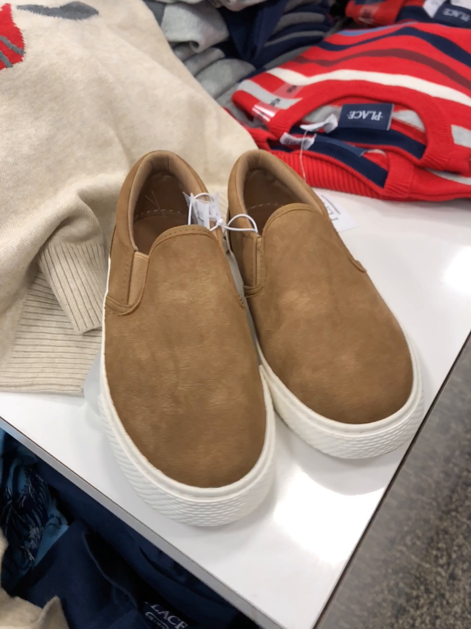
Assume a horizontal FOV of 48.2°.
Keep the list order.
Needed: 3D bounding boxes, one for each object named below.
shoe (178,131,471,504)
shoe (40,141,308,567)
[{"bbox_3d":[0.039,-0.021,0.322,0.092,0.080,0.231,-14,43,-9],"label":"shoe"},{"bbox_3d":[-0.039,-0.003,0.291,0.092,0.080,0.231,-11,43,-5],"label":"shoe"}]
